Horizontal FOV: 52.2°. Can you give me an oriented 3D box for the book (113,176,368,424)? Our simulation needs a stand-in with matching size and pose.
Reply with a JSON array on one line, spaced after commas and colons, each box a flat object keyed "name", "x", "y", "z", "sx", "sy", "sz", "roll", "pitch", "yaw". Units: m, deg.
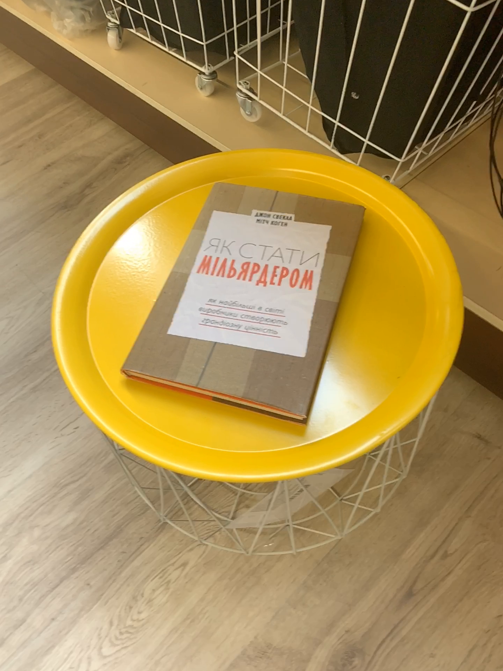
[{"name": "book", "x": 0.001, "y": -0.050, "z": 0.475, "sx": 0.170, "sy": 0.020, "sz": 0.236, "roll": 12, "pitch": 59, "yaw": 13}]
